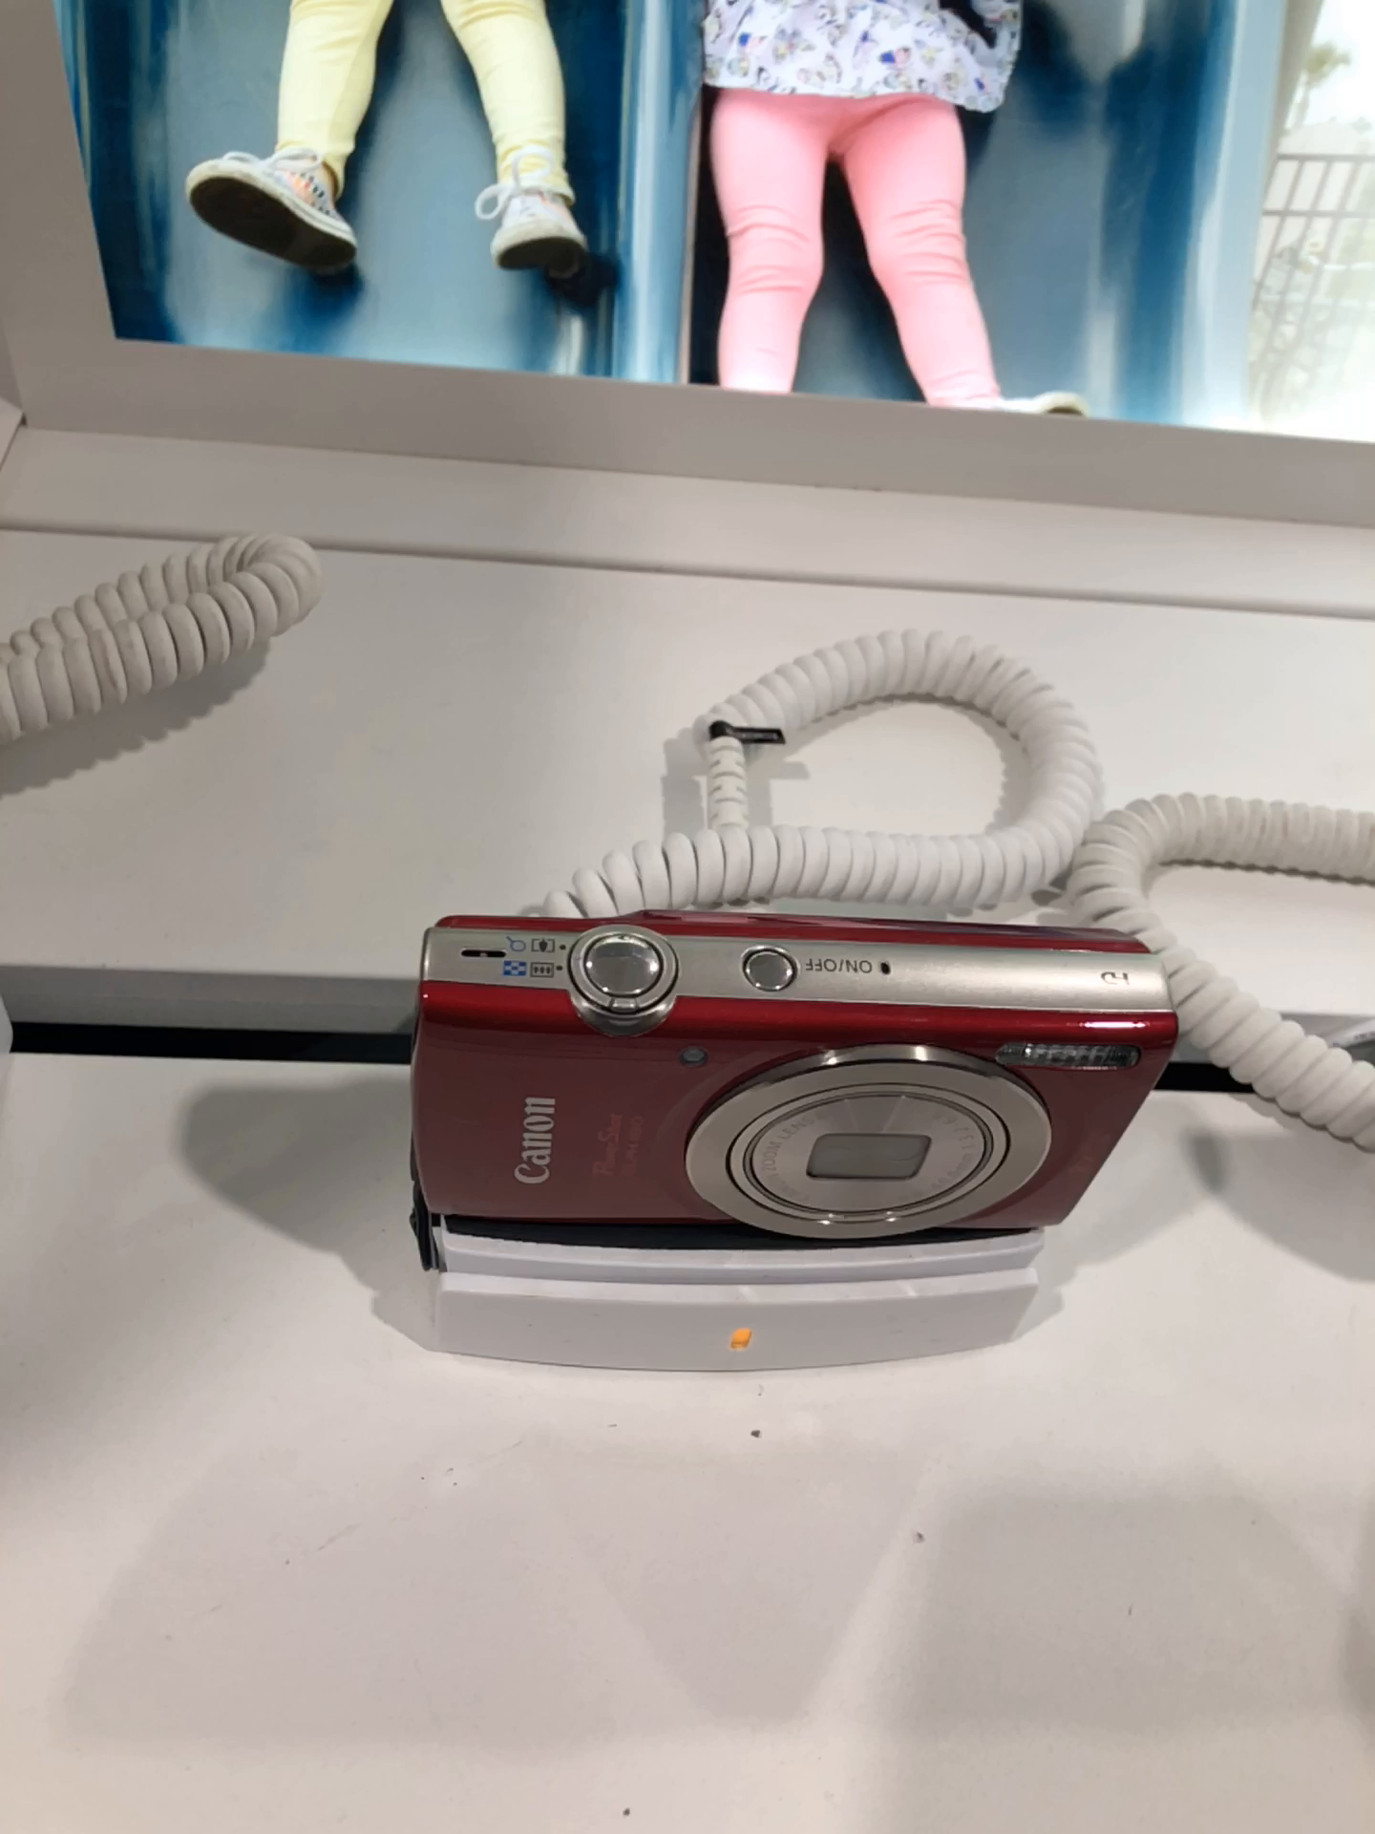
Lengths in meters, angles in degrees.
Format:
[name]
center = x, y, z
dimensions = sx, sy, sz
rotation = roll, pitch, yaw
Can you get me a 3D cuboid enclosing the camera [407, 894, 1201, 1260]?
[camera]
center = 0.012, 0.023, 0.202
dimensions = 0.092, 0.050, 0.022
rotation = 1, 48, -7
